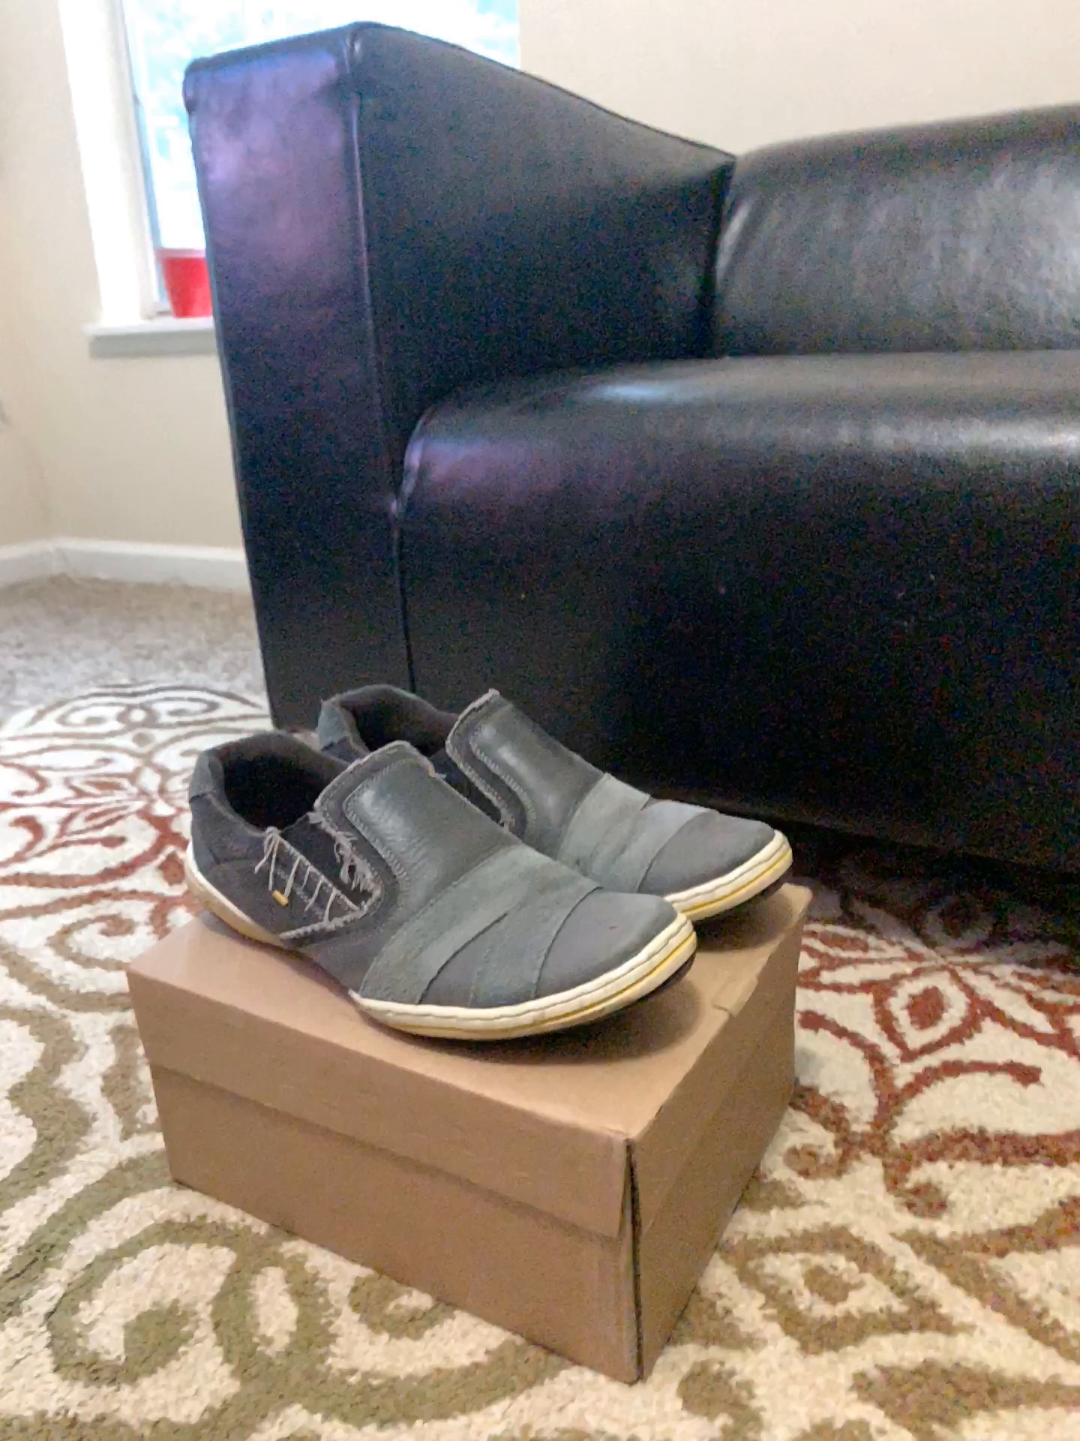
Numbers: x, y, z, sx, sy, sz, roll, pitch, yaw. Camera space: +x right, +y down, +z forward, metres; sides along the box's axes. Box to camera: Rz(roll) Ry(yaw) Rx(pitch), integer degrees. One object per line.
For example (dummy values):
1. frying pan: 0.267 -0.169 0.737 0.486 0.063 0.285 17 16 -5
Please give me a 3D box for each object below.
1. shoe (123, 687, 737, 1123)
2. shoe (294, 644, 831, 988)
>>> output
1. shoe: -0.056 0.067 0.536 0.260 0.100 0.140 11 22 35
2. shoe: 0.009 0.036 0.622 0.260 0.100 0.140 11 22 35
